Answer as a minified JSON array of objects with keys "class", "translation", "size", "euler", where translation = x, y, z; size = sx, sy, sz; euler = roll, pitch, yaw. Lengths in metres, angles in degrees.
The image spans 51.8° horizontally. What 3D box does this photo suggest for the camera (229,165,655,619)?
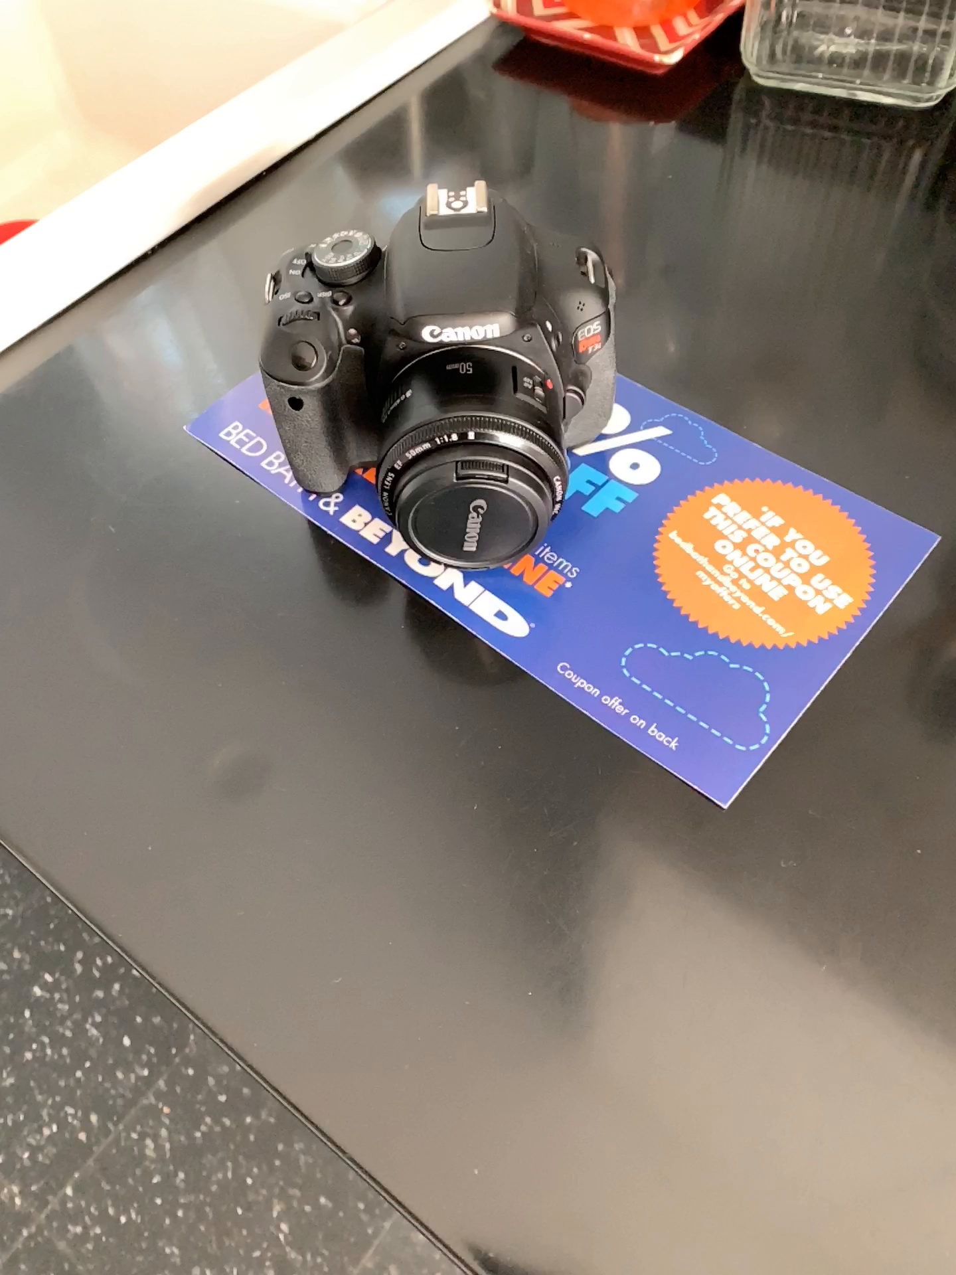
[{"class":"camera","translation":[-0.010,-0.086,0.356],"size":[0.122,0.098,0.118],"euler":[-3,56,2]}]
